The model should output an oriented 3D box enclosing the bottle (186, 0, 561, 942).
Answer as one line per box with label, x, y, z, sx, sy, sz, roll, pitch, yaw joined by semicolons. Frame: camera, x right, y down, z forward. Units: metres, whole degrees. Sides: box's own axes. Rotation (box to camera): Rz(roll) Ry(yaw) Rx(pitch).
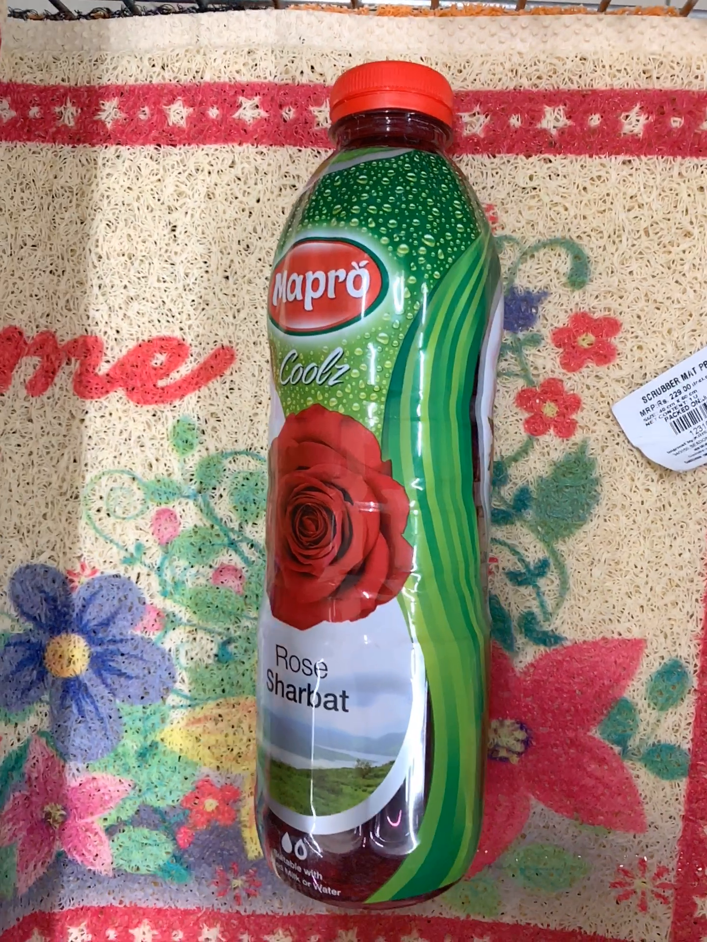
bottle;0.007;-0.005;0.225;0.080;0.080;0.250;4;96;30
